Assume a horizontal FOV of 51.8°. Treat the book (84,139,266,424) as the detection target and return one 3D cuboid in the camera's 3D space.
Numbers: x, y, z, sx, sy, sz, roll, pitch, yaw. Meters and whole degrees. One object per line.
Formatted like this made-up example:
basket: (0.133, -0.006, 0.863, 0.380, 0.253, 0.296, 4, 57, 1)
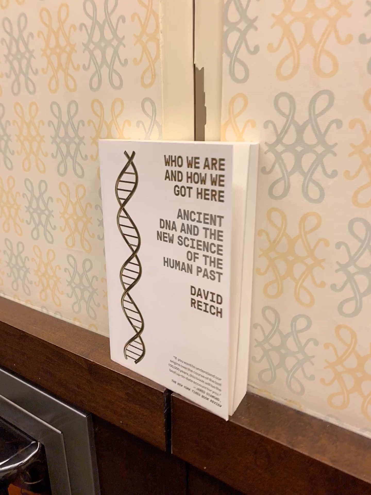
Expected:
book: (-0.011, 0.020, 0.300, 0.127, 0.199, 0.041, 10, 19, 28)
